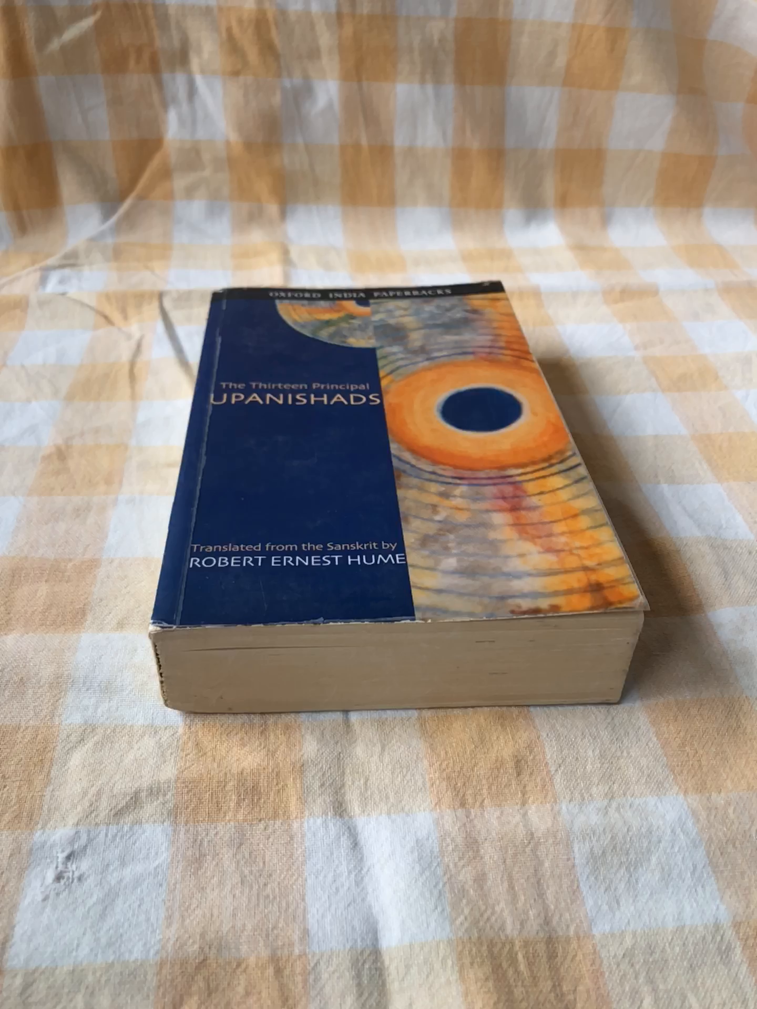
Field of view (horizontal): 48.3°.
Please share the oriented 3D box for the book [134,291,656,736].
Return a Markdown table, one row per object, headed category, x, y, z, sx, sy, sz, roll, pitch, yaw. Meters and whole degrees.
| category | x | y | z | sx | sy | sz | roll | pitch | yaw |
| --- | --- | --- | --- | --- | --- | --- | --- | --- | --- |
| book | -0.002 | -0.016 | 0.320 | 0.140 | 0.040 | 0.211 | -1 | 39 | -5 |
